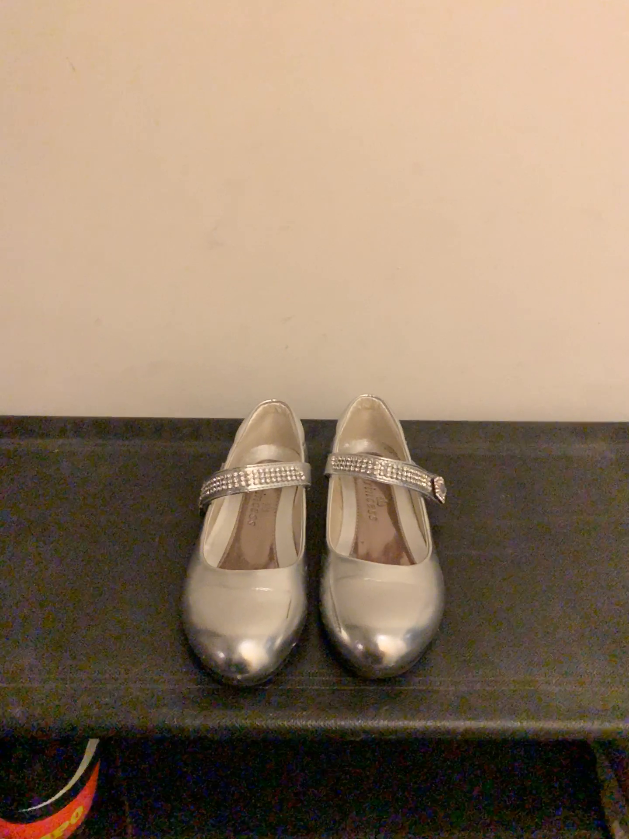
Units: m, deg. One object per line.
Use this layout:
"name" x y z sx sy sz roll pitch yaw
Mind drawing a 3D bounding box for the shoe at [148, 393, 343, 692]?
"shoe" -0.030 0.068 0.421 0.090 0.089 0.182 -2 31 5

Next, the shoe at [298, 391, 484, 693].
"shoe" 0.045 0.067 0.417 0.090 0.089 0.182 -2 31 5
